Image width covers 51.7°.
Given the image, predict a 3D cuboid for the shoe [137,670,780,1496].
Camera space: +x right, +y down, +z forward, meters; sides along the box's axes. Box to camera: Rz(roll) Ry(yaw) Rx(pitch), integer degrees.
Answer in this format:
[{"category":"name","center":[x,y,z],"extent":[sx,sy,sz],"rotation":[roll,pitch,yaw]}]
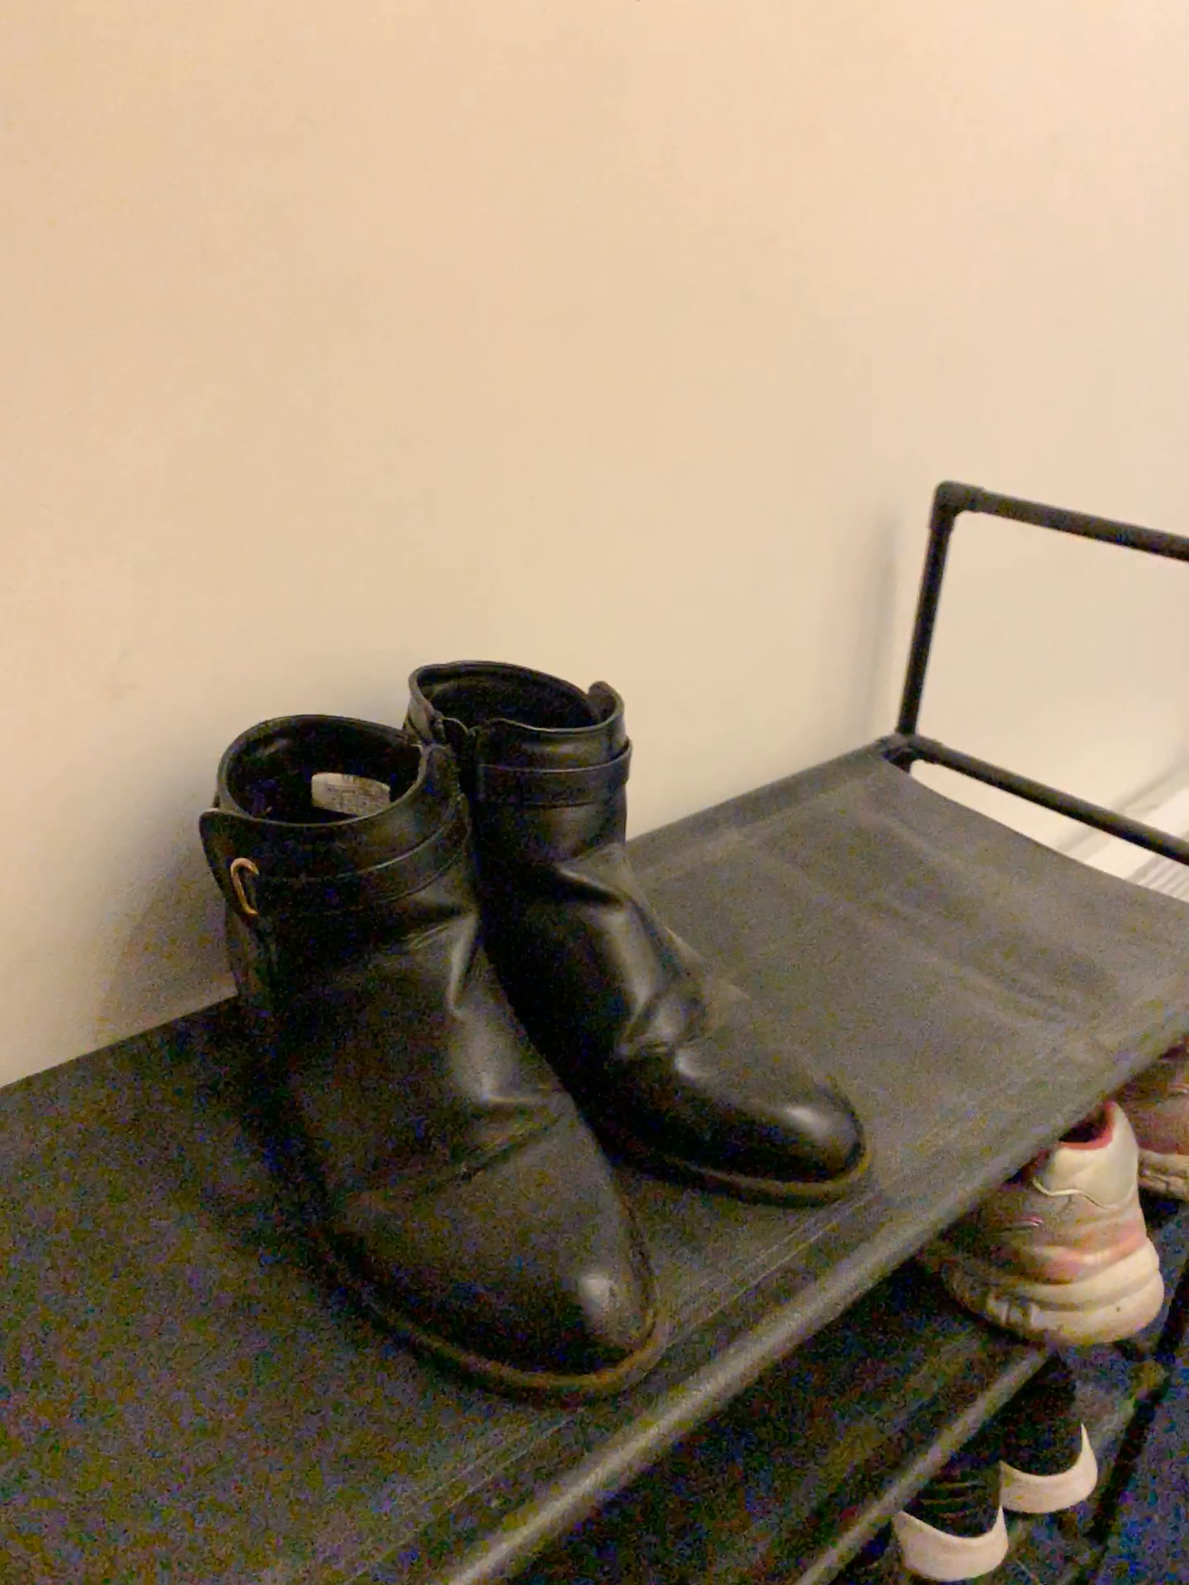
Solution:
[{"category":"shoe","center":[-0.059,0.077,0.429],"extent":[0.100,0.169,0.221],"rotation":[-17,31,-36]}]

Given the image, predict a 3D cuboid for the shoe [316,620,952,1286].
[{"category":"shoe","center":[0.003,0.047,0.509],"extent":[0.241,0.169,0.100],"rotation":[23,32,38]}]
